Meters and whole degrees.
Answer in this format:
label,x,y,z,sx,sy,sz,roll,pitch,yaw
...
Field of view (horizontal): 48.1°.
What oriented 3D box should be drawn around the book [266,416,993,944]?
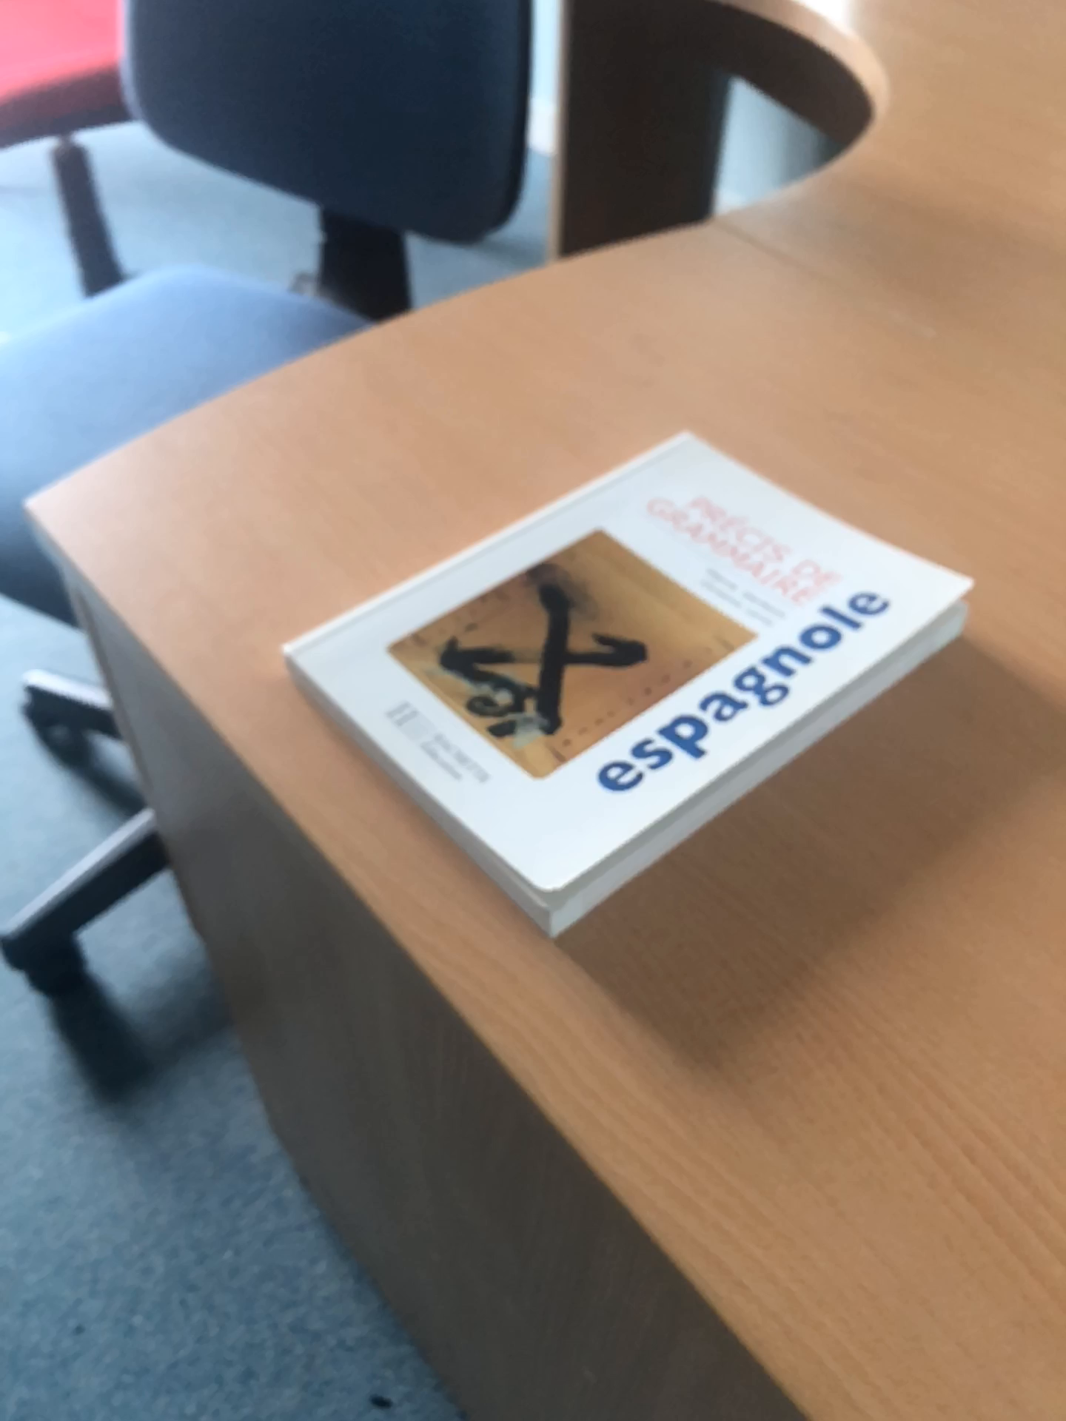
label,x,y,z,sx,sy,sz,roll,pitch,yaw
book,0.041,-0.034,0.498,0.241,0.020,0.180,-32,52,-26
